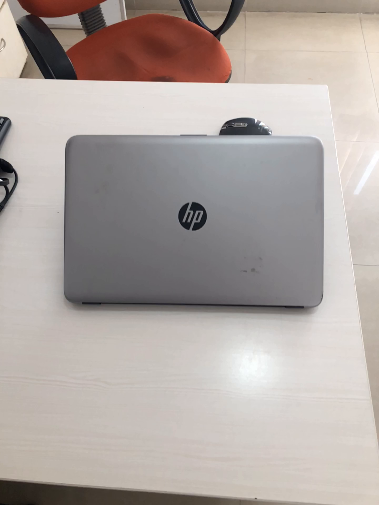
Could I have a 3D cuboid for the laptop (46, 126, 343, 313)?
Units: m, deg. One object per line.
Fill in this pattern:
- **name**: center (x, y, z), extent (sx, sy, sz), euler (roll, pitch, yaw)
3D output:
- **laptop**: center (0.005, -0.052, 0.626), extent (0.369, 0.120, 0.252), euler (0, 61, 3)
